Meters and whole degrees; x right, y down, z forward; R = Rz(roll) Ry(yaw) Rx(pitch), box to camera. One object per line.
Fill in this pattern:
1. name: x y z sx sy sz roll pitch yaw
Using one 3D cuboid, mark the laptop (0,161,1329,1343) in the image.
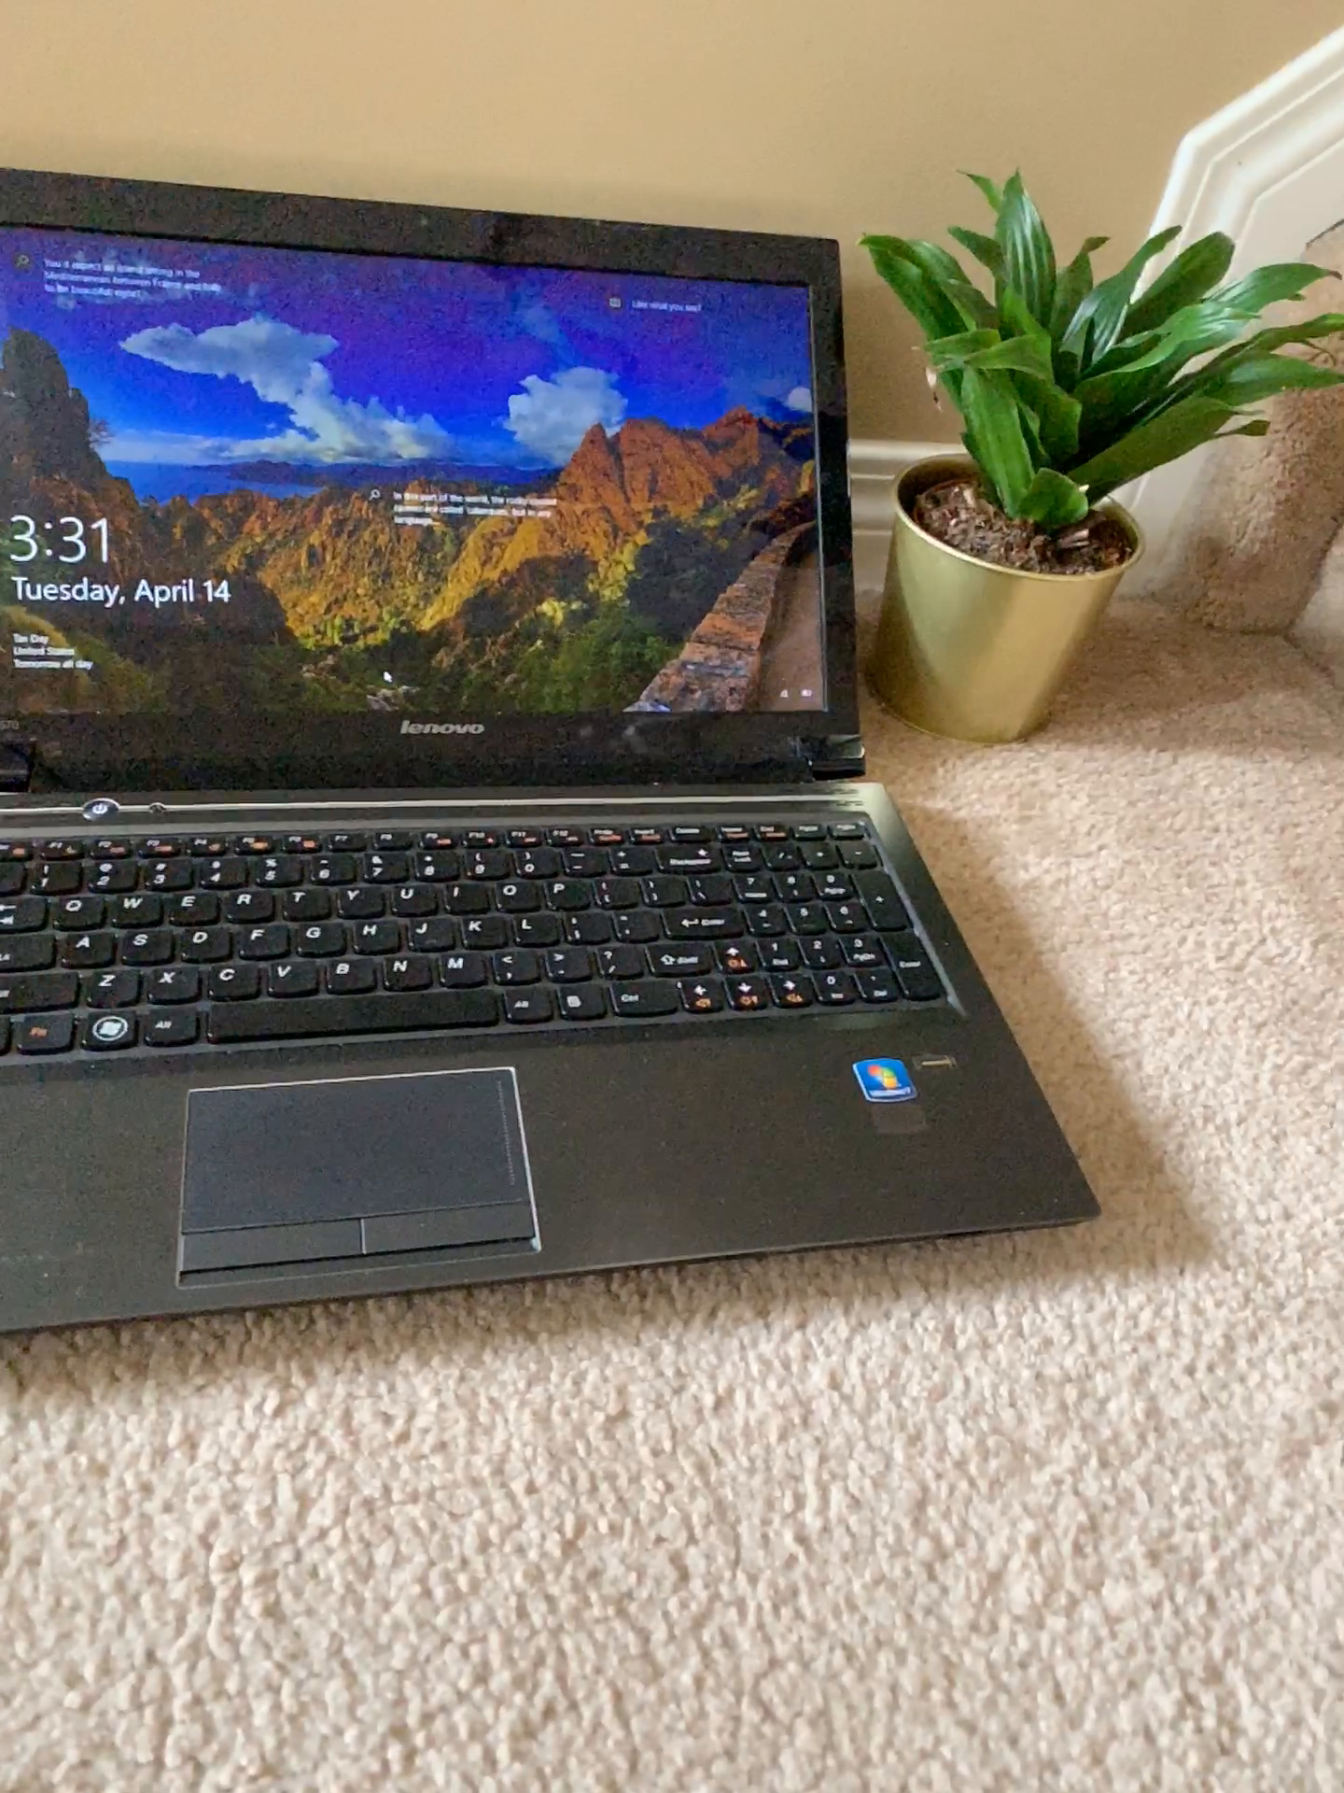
1. laptop: -0.076 -0.091 0.489 0.372 0.167 0.412 -2 43 -15
